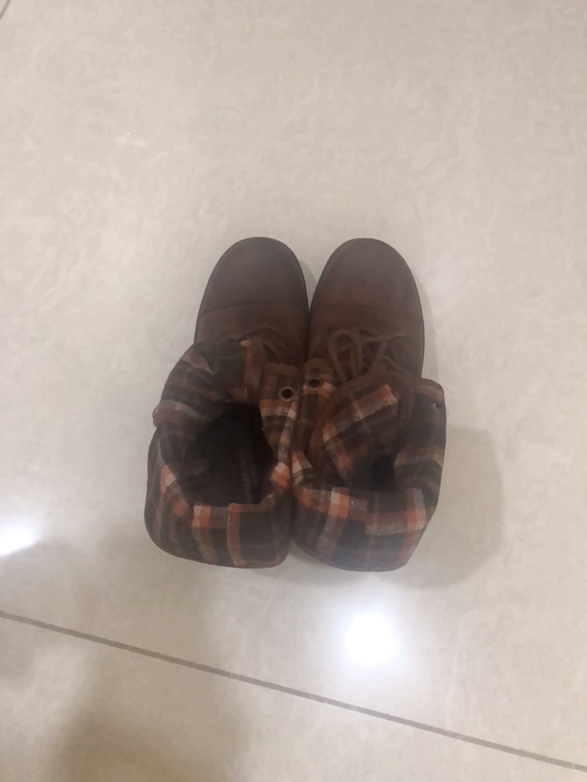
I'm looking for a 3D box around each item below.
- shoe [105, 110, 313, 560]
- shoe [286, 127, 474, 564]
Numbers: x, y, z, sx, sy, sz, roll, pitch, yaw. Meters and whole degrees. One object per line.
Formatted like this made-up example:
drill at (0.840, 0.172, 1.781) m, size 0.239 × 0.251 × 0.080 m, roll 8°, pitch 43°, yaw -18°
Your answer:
shoe at (-0.049, -0.031, 0.460) m, size 0.110 × 0.150 × 0.280 m, roll -1°, pitch 72°, yaw -2°
shoe at (0.052, -0.024, 0.459) m, size 0.100 × 0.140 × 0.270 m, roll 3°, pitch 72°, yaw 0°
